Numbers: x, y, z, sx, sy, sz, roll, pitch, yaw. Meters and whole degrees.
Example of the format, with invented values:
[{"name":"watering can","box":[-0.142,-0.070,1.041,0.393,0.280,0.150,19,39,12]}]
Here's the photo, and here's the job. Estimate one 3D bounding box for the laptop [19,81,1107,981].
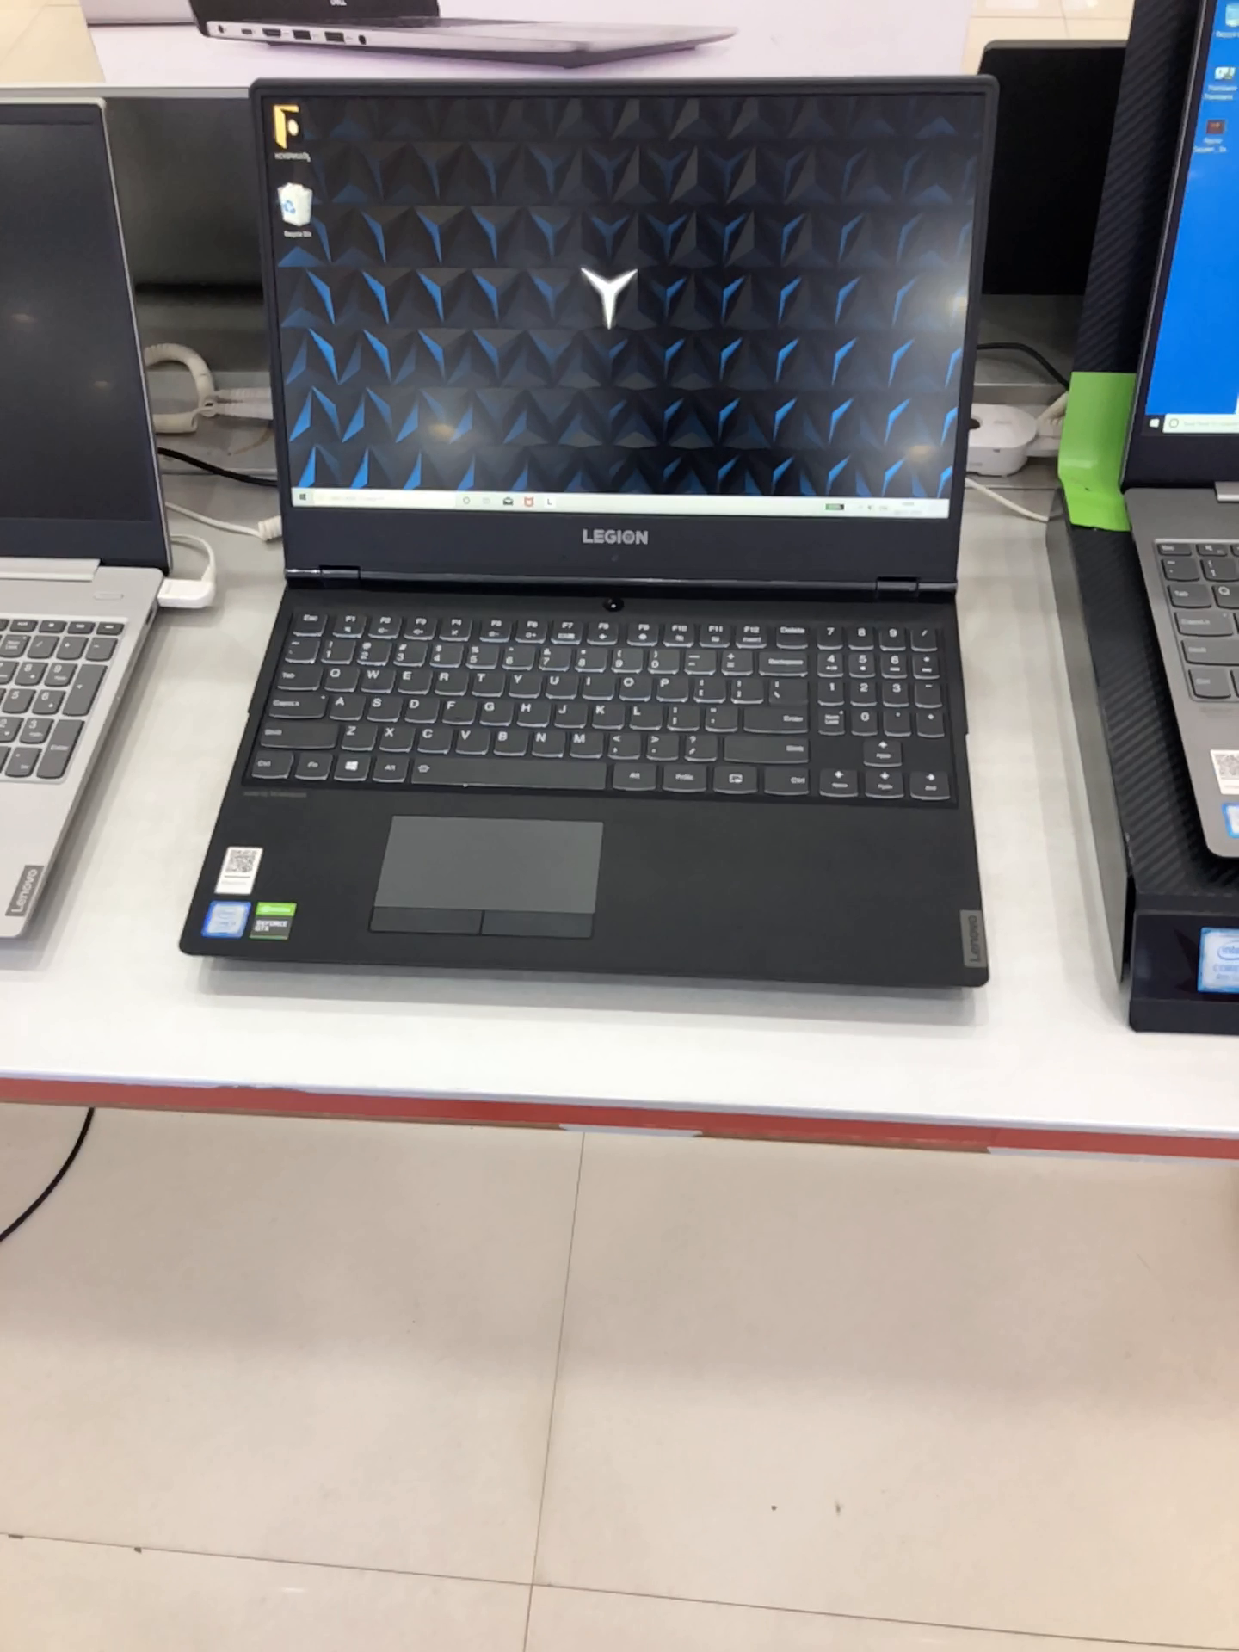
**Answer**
[{"name":"laptop","box":[-0.007,-0.140,0.592,0.333,0.191,0.349,2,54,4]}]
